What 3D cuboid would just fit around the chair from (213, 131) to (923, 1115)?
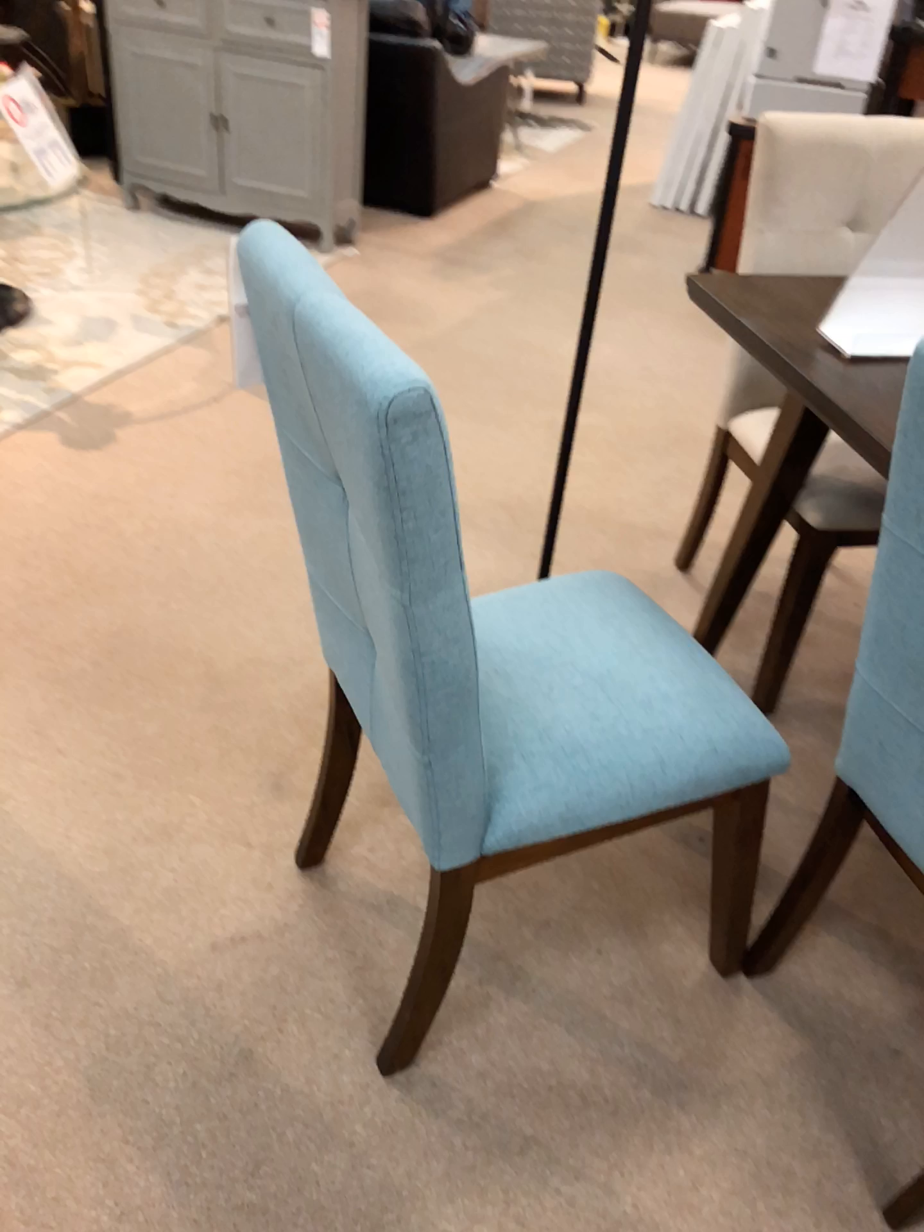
[{"bbox_3d":[0.106,0.004,1.266,0.620,0.993,0.544,-12,39,-20],"label":"chair"}]
